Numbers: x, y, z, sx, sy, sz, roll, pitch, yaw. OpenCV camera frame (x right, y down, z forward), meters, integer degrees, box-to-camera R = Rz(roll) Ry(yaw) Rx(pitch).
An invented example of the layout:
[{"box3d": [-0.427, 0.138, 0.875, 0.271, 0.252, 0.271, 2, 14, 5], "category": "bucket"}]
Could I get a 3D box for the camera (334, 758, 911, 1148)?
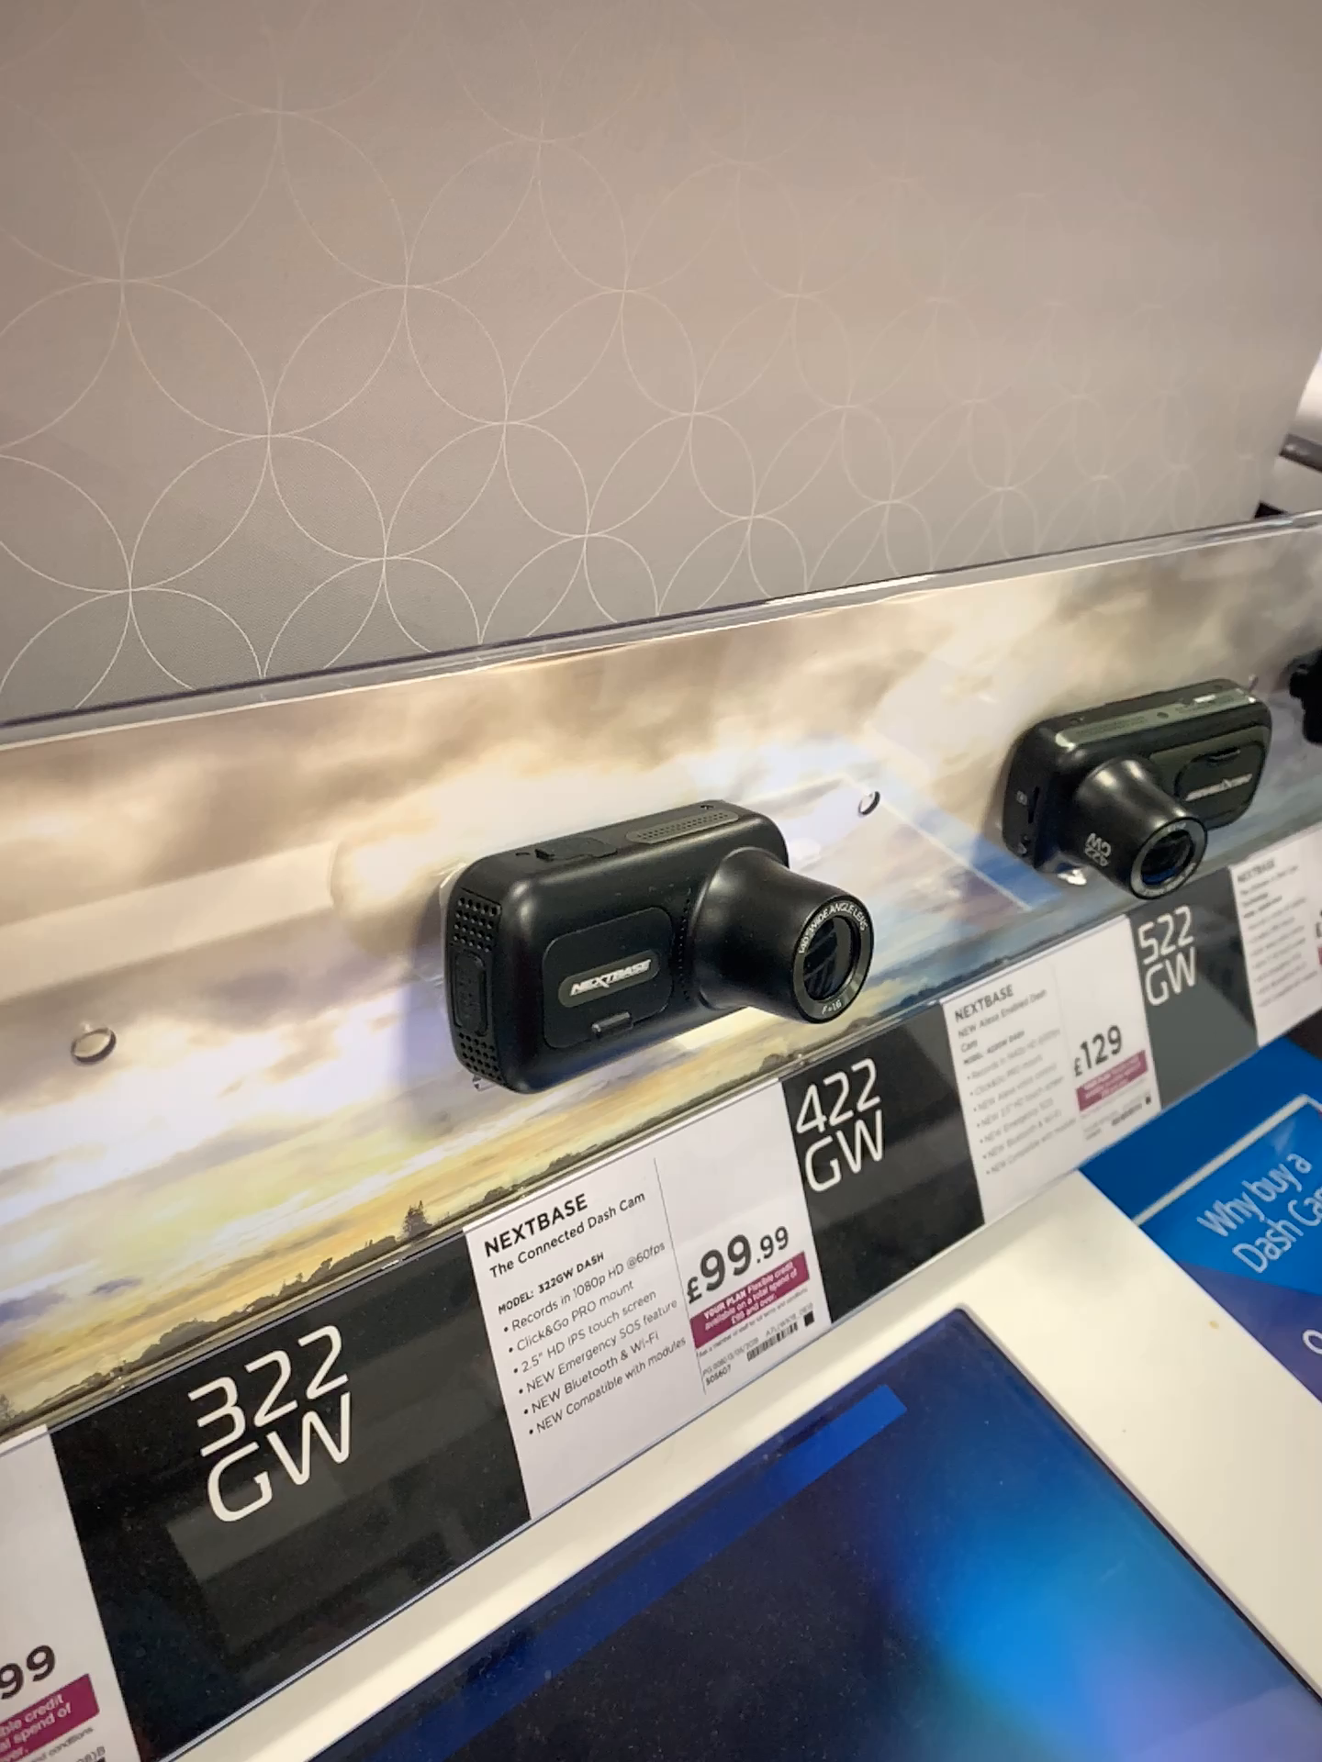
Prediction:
[{"box3d": [-0.007, 0.008, 0.276, 0.090, 0.040, 0.070, -16, 23, -36], "category": "camera"}]
